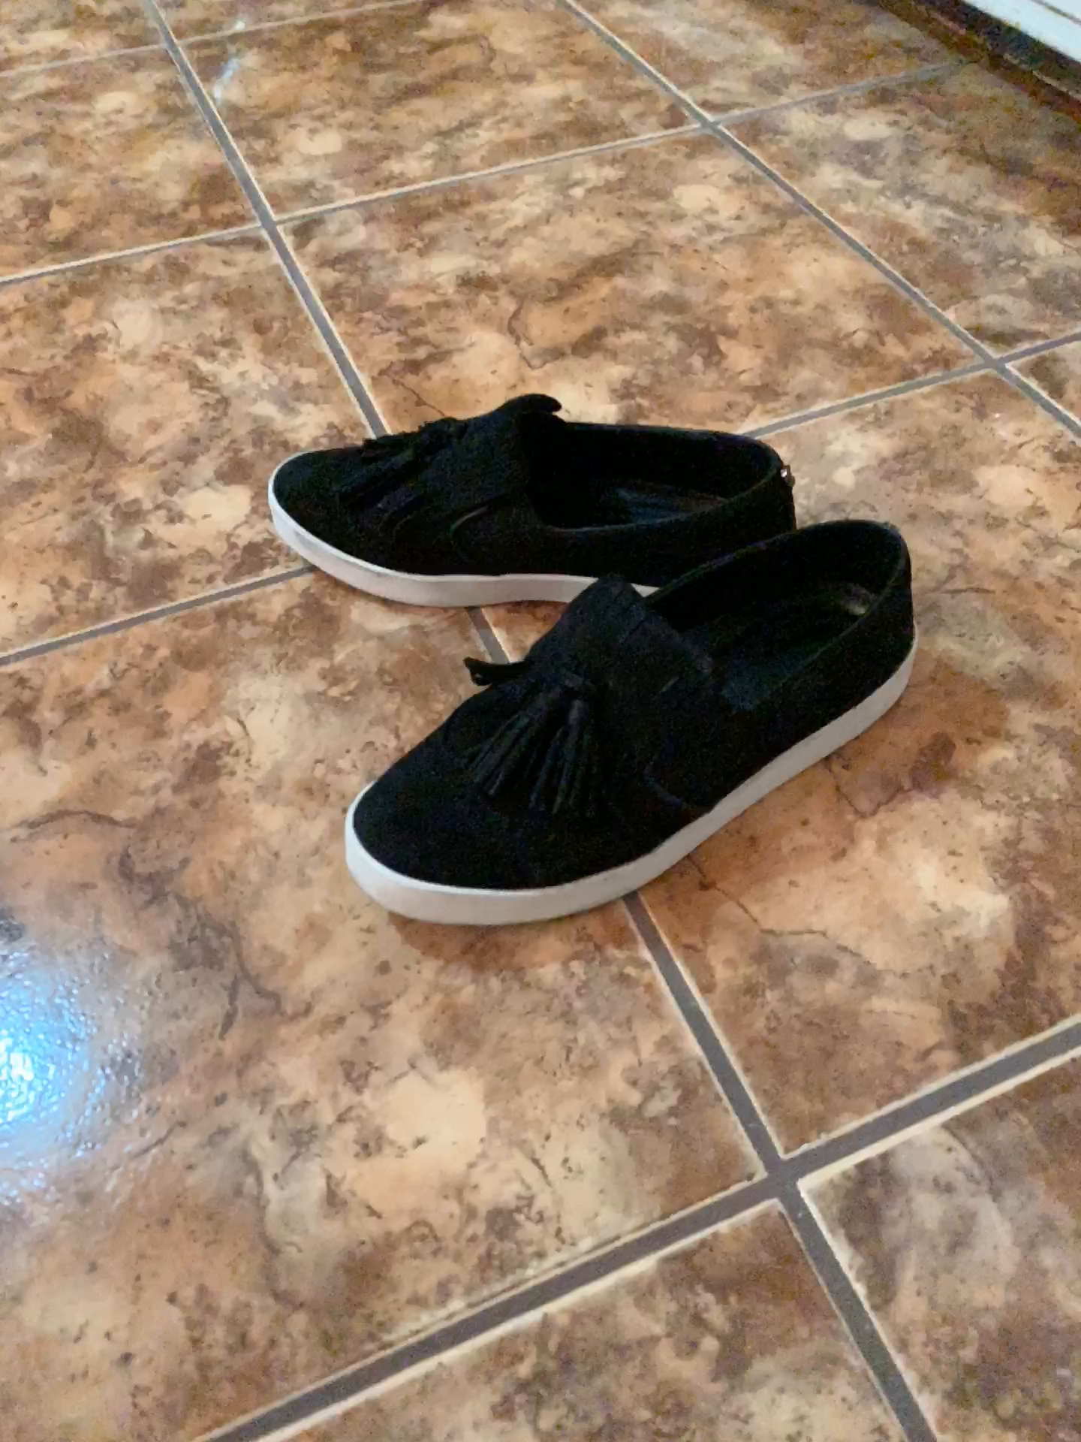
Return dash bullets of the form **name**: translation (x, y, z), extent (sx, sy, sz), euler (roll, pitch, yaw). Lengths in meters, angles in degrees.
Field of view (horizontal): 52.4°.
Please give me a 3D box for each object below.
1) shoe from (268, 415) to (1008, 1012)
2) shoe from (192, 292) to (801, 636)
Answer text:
- **shoe**: translation (0.040, -0.012, 0.421), extent (0.250, 0.094, 0.098), euler (-27, 55, -20)
- **shoe**: translation (-0.014, -0.121, 0.511), extent (0.249, 0.094, 0.098), euler (7, 51, 6)
